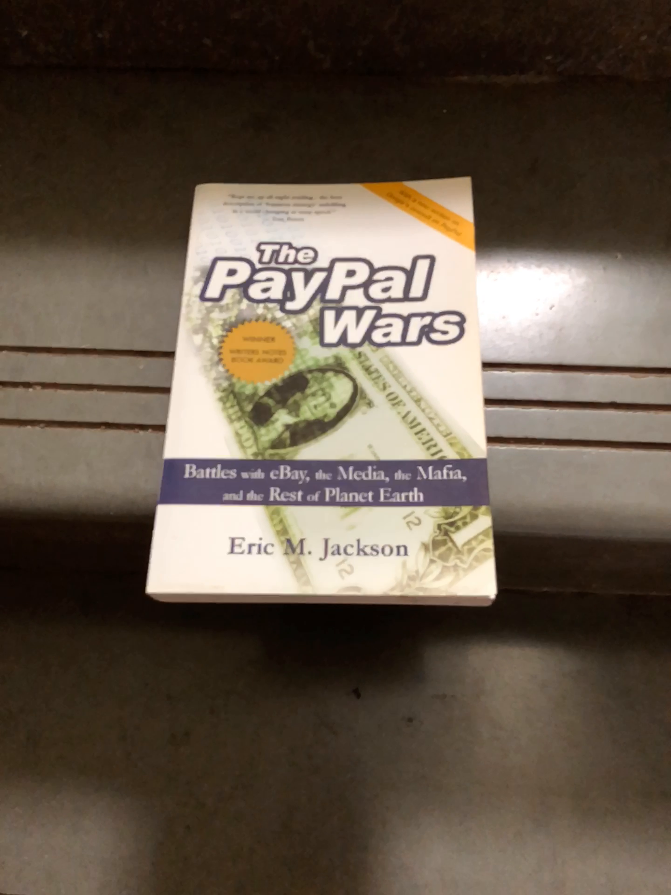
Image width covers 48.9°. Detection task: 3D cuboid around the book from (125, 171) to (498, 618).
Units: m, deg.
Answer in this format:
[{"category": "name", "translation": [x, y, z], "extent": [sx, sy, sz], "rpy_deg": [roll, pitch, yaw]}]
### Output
[{"category": "book", "translation": [-0.008, -0.033, 0.352], "extent": [0.150, 0.030, 0.220], "rpy_deg": [0, 68, 2]}]
